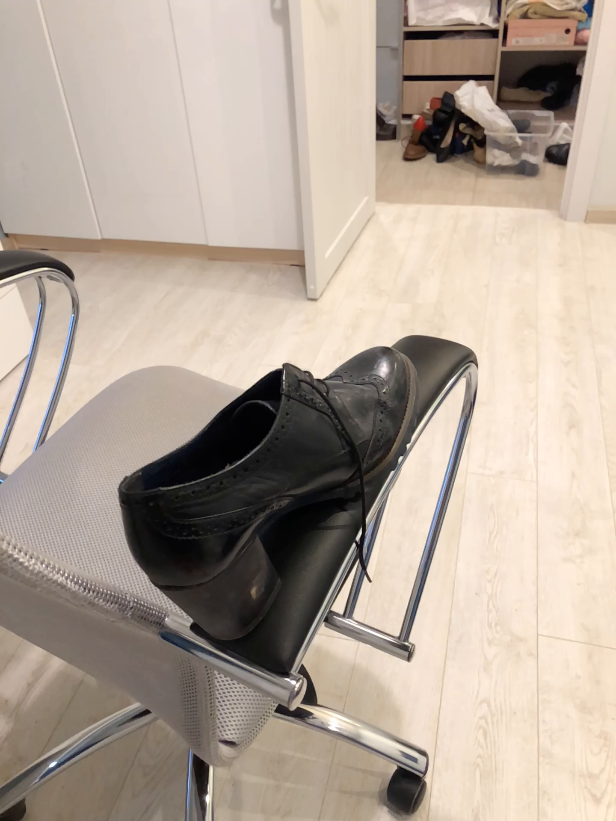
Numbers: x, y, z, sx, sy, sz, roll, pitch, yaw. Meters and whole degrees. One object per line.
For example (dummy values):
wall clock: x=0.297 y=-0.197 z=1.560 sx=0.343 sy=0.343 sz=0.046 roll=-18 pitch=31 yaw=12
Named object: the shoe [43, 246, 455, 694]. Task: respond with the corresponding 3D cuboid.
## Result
shoe: x=-0.013 y=0.021 z=0.427 sx=0.100 sy=0.119 sz=0.251 roll=23 pitch=53 yaw=31
